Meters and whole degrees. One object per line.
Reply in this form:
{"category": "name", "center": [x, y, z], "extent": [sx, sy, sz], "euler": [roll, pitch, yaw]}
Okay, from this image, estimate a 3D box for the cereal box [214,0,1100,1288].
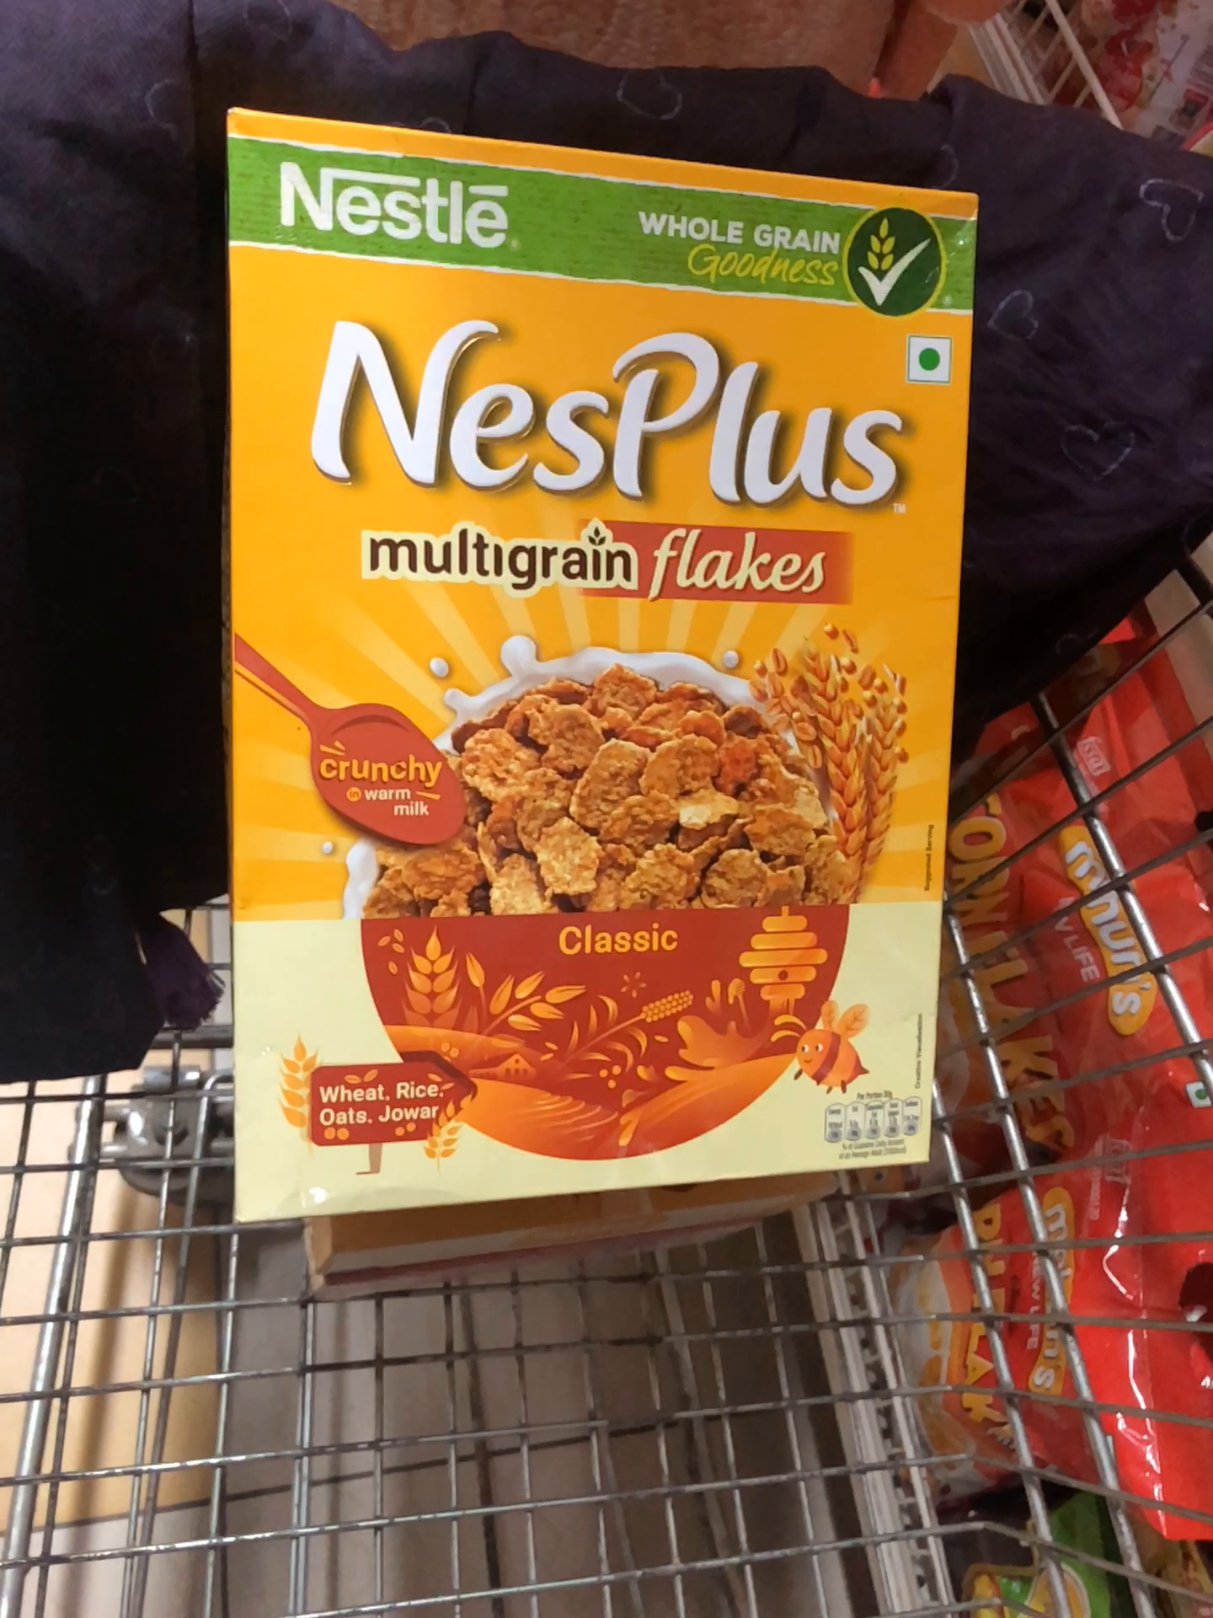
{"category": "cereal box", "center": [0.003, -0.033, 0.336], "extent": [0.190, 0.080, 0.260], "euler": [-1, 101, -19]}
